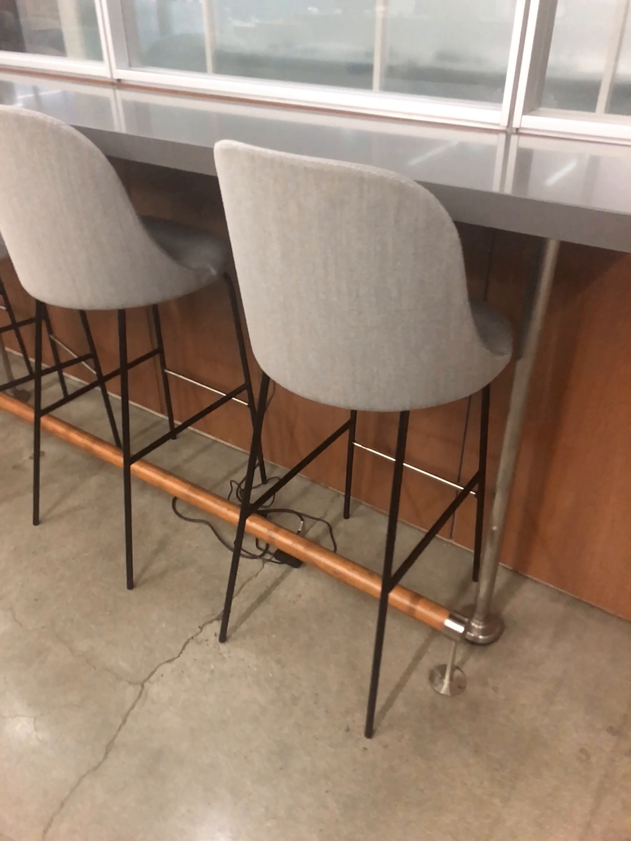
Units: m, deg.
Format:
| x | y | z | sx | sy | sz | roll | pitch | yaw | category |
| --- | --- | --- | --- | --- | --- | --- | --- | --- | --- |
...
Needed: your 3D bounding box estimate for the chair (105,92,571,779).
| x | y | z | sx | sy | sz | roll | pitch | yaw | category |
| --- | --- | --- | --- | --- | --- | --- | --- | --- | --- |
| 0.066 | 0.032 | 1.427 | 0.490 | 1.180 | 0.595 | 22 | 39 | 30 | chair |
